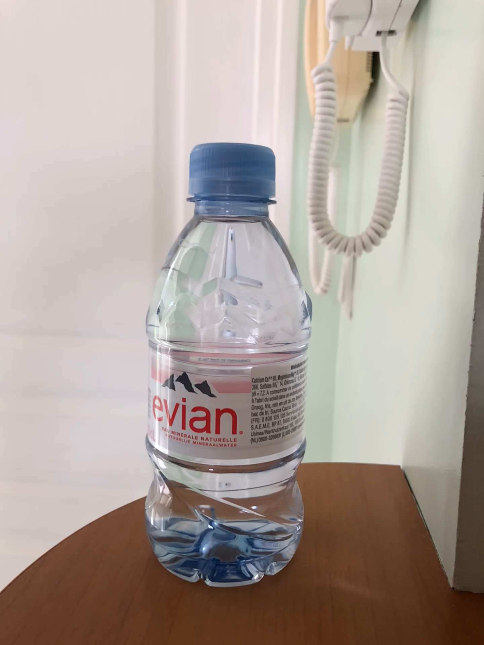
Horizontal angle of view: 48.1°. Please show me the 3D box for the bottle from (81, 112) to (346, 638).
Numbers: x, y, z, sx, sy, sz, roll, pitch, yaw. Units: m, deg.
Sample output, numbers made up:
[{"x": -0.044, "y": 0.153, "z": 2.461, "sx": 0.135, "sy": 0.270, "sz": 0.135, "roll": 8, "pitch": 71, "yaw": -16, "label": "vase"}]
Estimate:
[{"x": -0.009, "y": 0.013, "z": 0.207, "sx": 0.070, "sy": 0.160, "sz": 0.070, "roll": 2, "pitch": 8, "yaw": 0, "label": "bottle"}]
